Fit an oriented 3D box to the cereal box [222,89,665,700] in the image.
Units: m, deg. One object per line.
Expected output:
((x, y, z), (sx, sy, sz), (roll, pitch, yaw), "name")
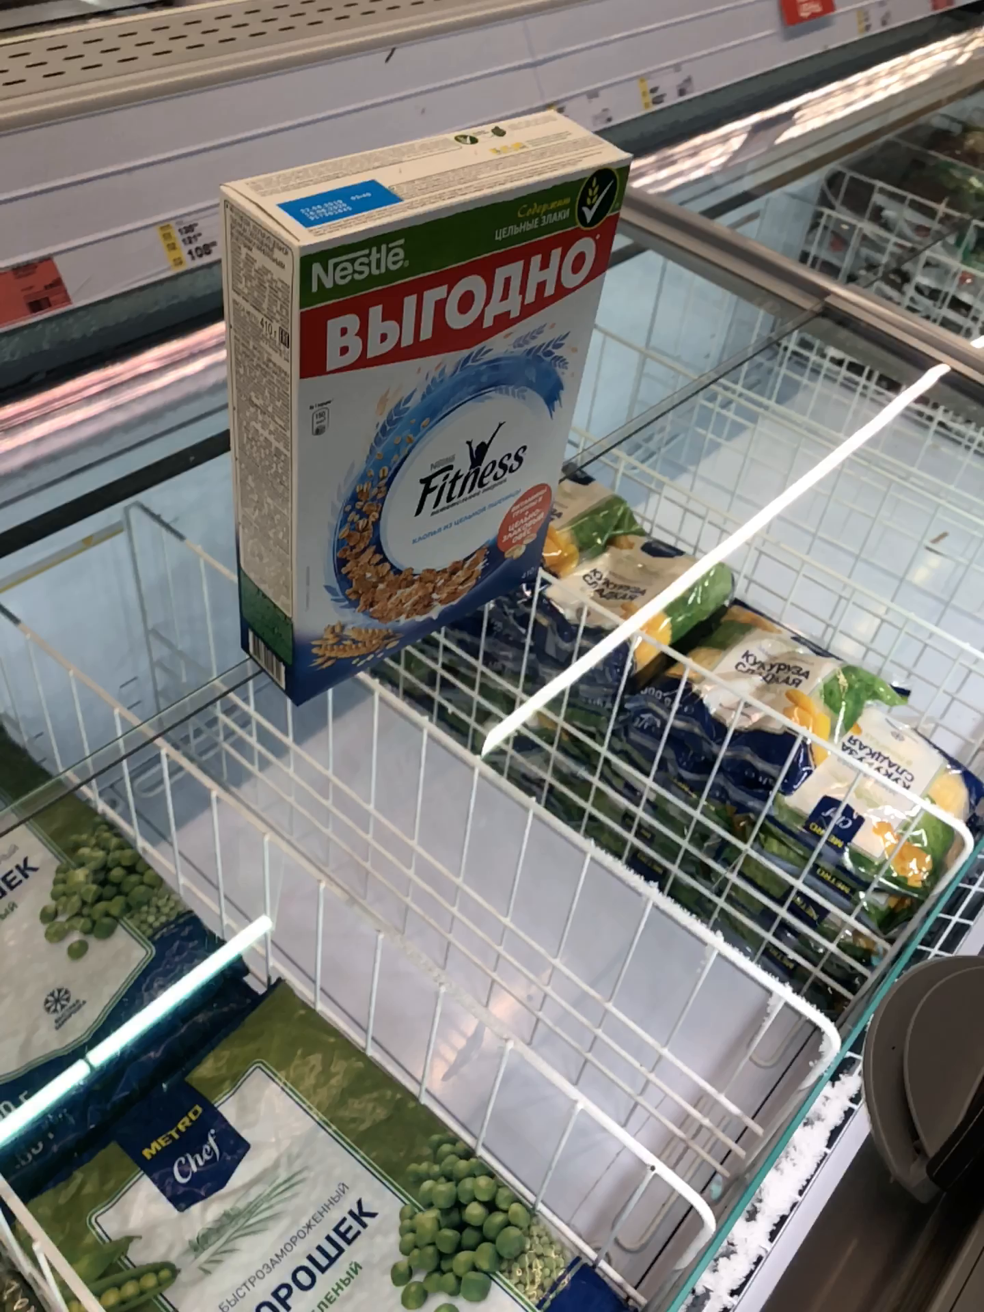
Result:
((-0.030, -0.128, 0.564), (0.201, 0.268, 0.060), (-30, 58, -32), "cereal box")
